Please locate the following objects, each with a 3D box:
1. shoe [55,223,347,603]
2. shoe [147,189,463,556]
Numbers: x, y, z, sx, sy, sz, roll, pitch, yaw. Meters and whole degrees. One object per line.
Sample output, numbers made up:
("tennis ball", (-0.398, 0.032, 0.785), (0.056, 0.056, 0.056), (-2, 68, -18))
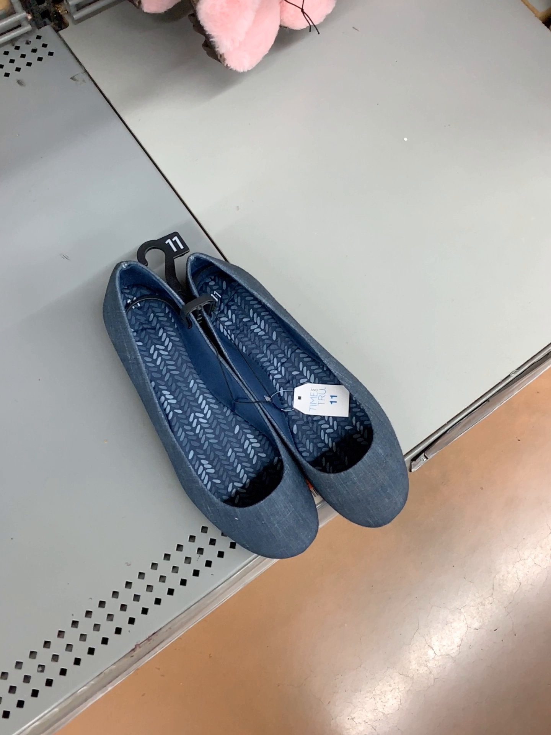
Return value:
("shoe", (-0.061, 0.034, 0.464), (0.090, 0.090, 0.280), (-31, 80, -7))
("shoe", (0.018, 0.003, 0.467), (0.090, 0.090, 0.280), (-35, 81, -5))
